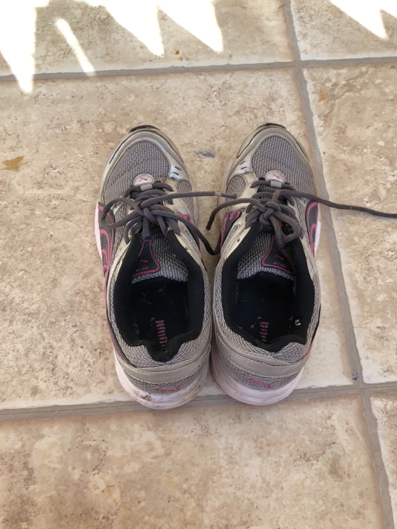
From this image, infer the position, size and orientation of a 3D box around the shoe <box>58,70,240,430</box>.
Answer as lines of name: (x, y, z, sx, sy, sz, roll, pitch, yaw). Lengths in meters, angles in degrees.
shoe: (-0.046, -0.007, 0.385, 0.110, 0.140, 0.271, -7, 68, -3)

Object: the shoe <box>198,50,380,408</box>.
shoe: (0.064, -0.025, 0.381, 0.110, 0.140, 0.271, 4, 68, 2)
